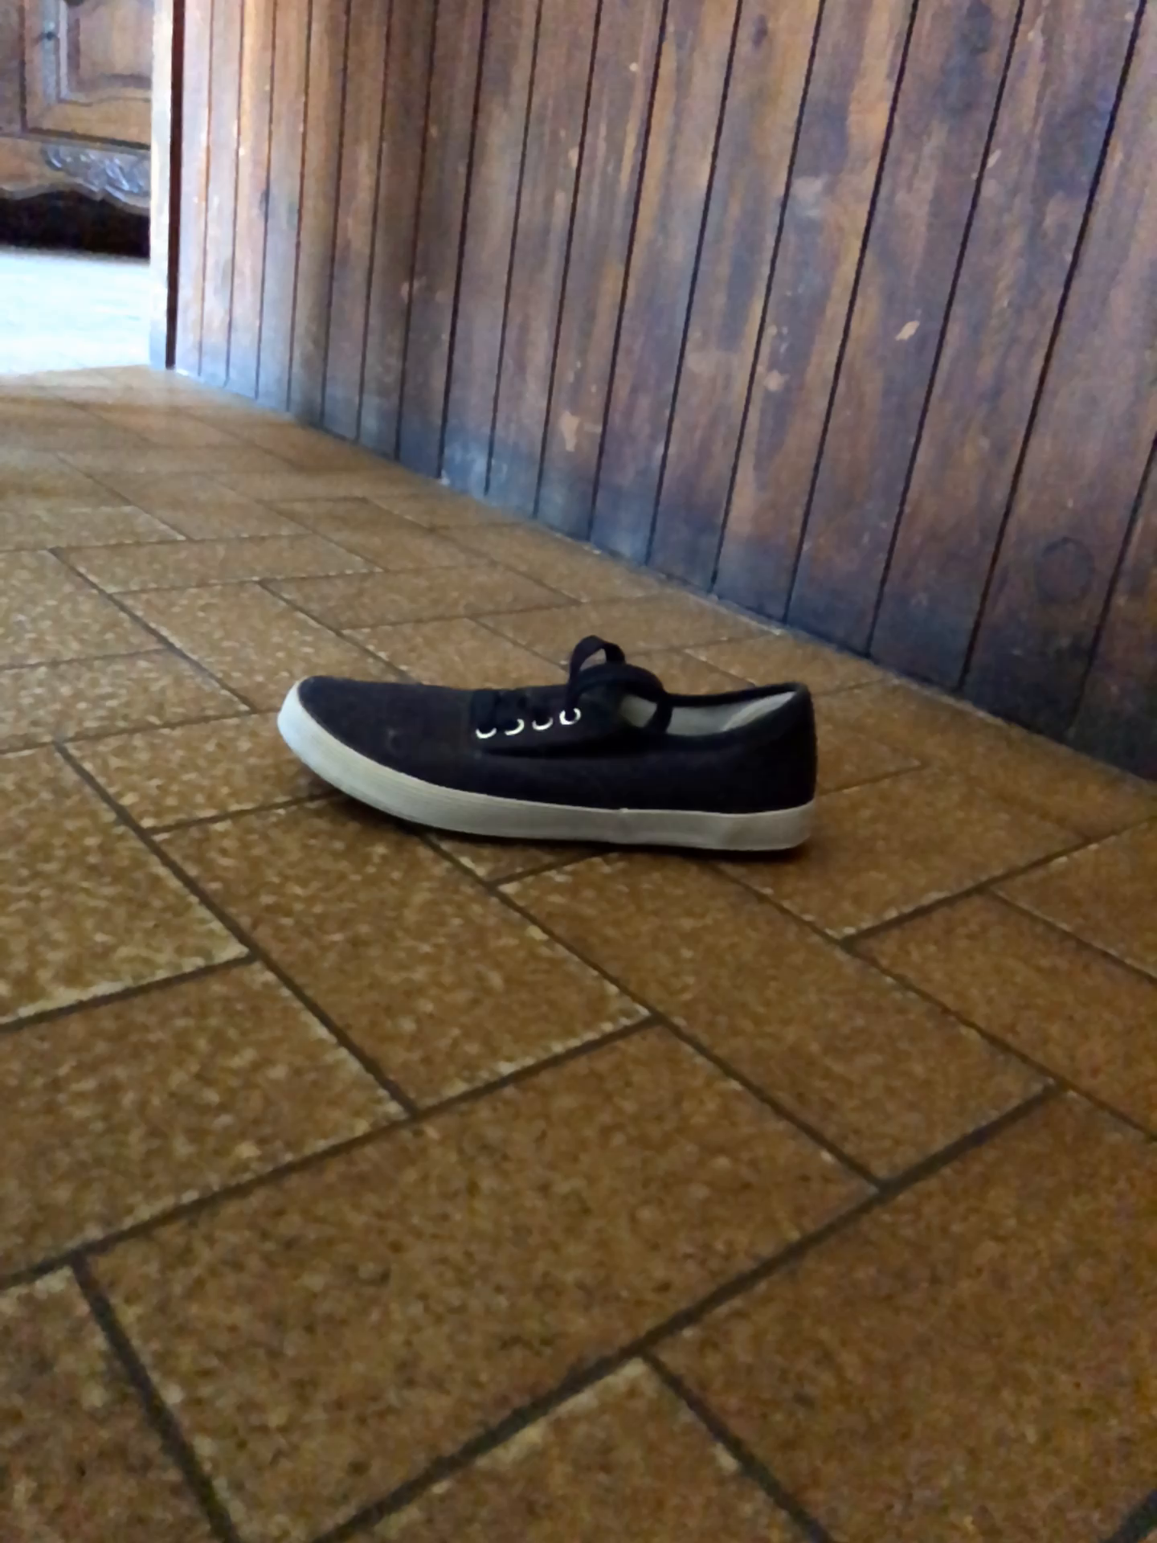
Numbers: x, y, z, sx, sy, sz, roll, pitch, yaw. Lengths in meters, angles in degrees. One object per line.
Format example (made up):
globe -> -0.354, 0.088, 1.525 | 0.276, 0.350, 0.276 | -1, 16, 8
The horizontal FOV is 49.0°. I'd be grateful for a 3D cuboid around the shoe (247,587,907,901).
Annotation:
shoe -> -0.003, -0.014, 0.521 | 0.240, 0.070, 0.101 | 6, 23, -4
